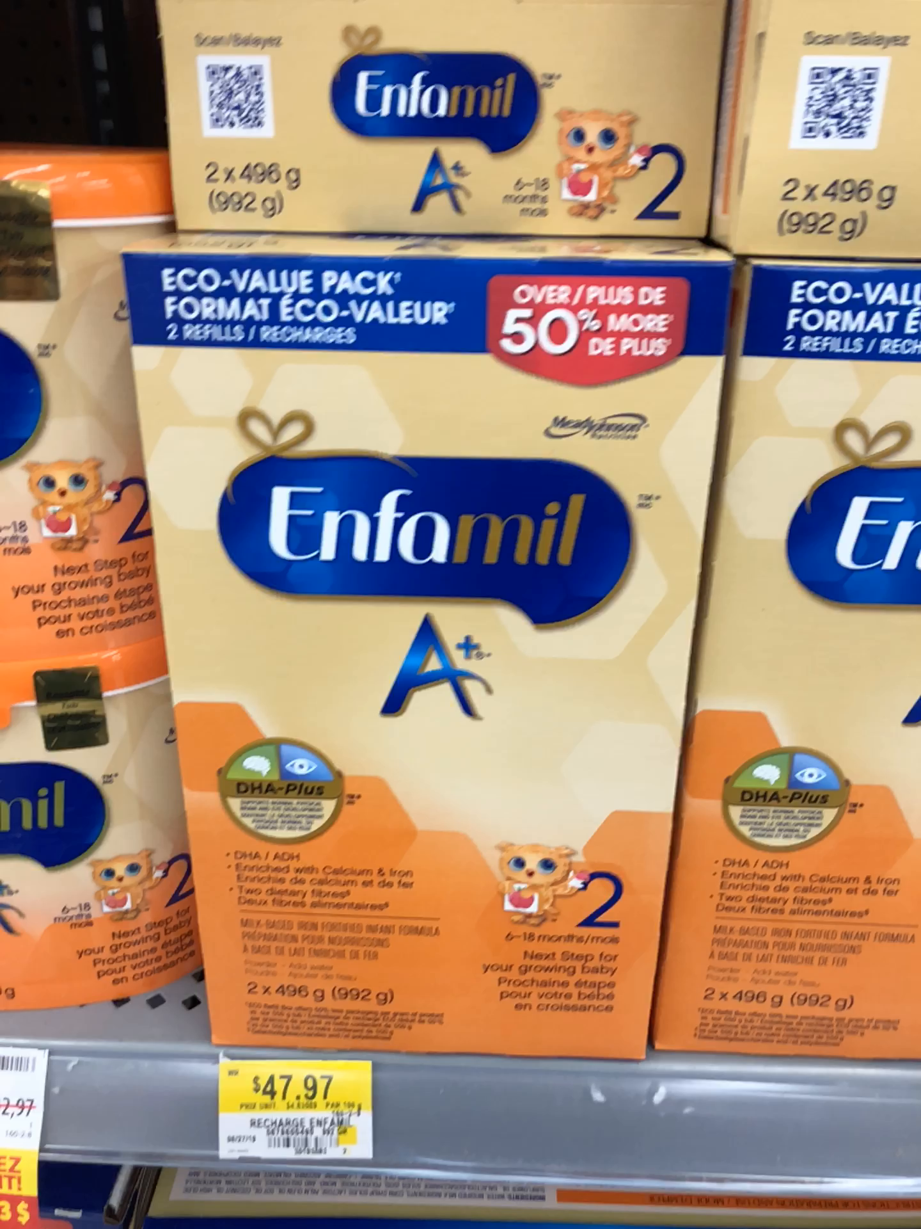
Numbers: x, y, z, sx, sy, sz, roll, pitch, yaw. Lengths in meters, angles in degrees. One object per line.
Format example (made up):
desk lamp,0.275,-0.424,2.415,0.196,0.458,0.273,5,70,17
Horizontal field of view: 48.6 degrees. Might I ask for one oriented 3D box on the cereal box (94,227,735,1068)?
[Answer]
cereal box,-0.013,0.015,0.308,0.140,0.238,0.081,2,25,0
